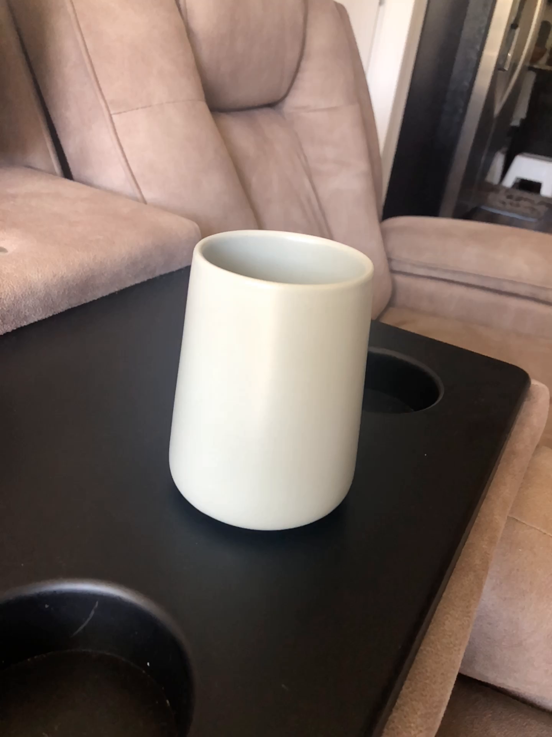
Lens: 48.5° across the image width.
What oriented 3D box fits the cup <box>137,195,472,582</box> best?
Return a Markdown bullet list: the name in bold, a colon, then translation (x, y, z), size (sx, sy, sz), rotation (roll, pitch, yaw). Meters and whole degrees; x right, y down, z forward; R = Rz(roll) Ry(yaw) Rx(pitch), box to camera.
- **cup**: translation (0.015, -0.004, 0.295), size (0.086, 0.121, 0.137), rotation (24, 32, 26)
